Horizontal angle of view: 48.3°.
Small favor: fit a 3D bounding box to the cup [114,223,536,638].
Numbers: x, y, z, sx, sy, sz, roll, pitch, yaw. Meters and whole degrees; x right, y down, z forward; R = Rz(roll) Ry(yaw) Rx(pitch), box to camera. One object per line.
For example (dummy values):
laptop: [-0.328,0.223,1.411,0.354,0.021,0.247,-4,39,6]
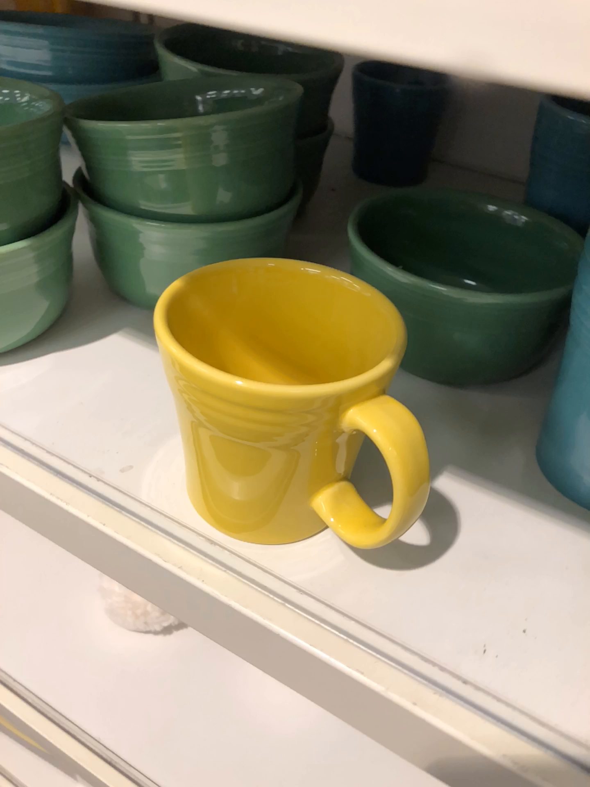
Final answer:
cup: [0.009,0.007,0.293,0.138,0.100,0.097,28,45,25]
